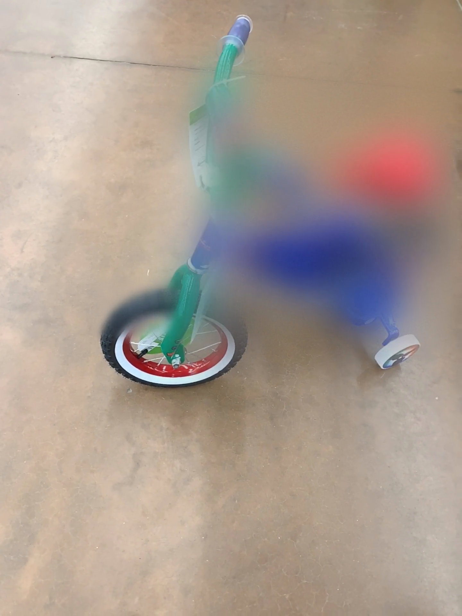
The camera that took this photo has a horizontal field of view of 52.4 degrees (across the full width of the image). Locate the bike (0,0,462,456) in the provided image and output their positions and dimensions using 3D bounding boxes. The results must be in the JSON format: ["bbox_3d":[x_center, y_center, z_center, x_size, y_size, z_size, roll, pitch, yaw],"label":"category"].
[{"bbox_3d":[0.117,-0.162,0.896,0.775,0.670,0.461,-16,60,-16],"label":"bike"}]
